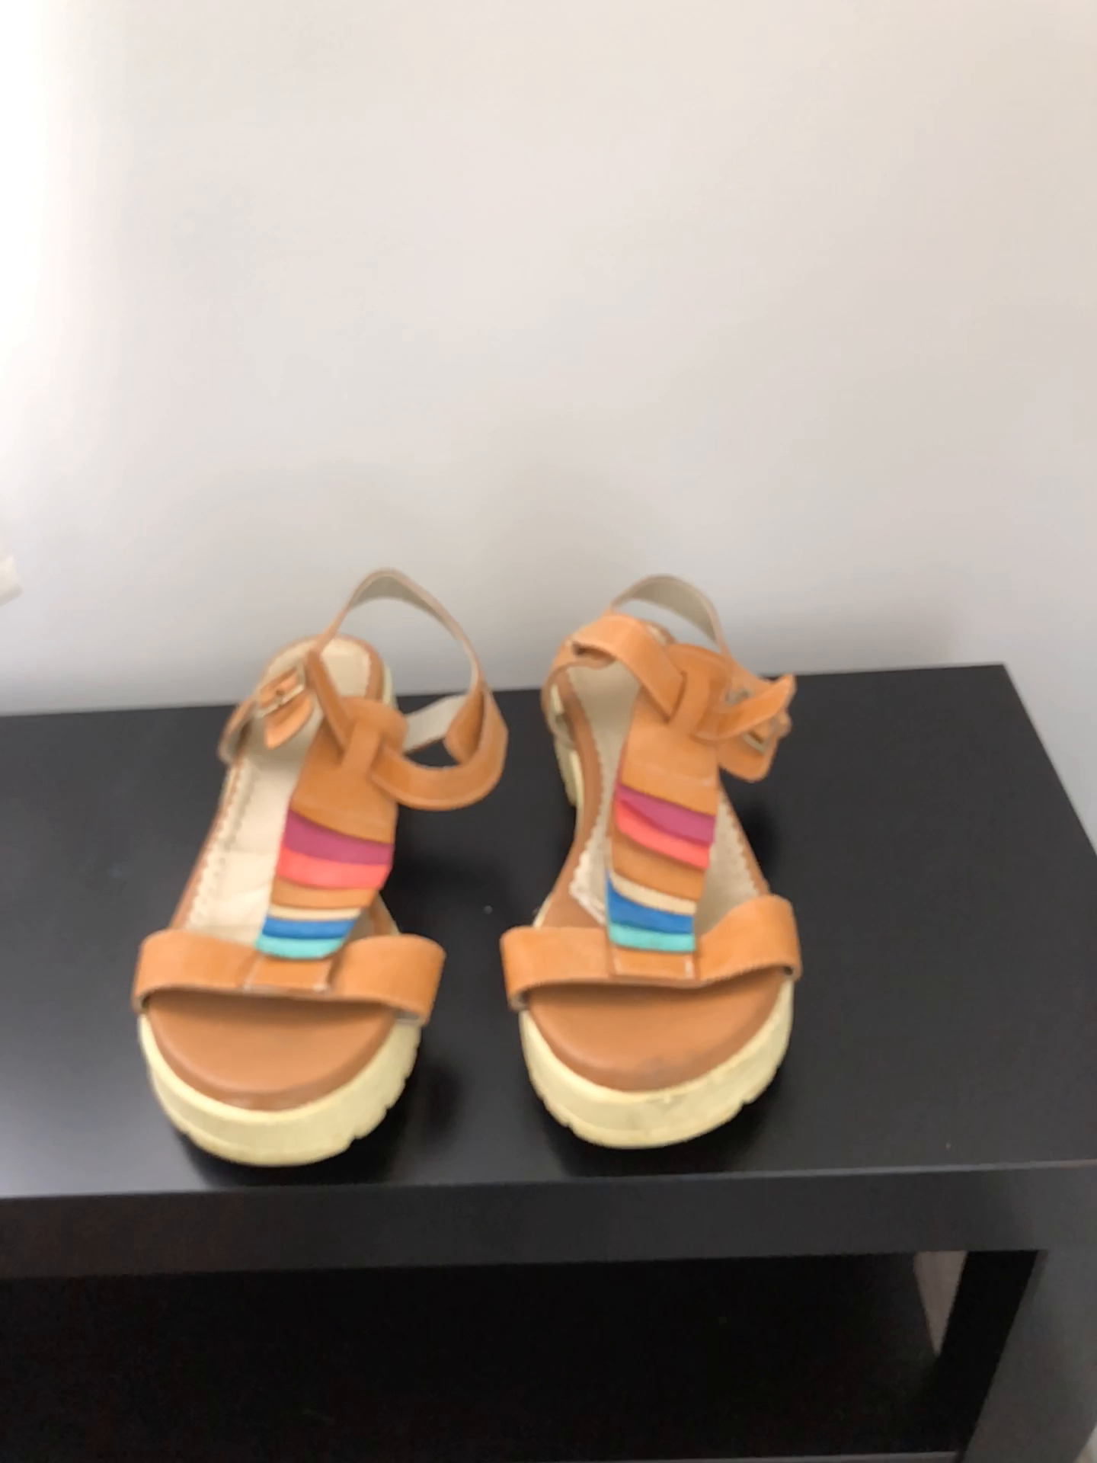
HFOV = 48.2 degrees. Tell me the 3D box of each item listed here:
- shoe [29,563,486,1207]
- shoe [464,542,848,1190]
[{"bbox_3d":[-0.086,0.039,0.455,0.100,0.083,0.248,-2,38,4],"label":"shoe"},{"bbox_3d":[0.034,0.030,0.441,0.100,0.077,0.248,-2,38,4],"label":"shoe"}]
